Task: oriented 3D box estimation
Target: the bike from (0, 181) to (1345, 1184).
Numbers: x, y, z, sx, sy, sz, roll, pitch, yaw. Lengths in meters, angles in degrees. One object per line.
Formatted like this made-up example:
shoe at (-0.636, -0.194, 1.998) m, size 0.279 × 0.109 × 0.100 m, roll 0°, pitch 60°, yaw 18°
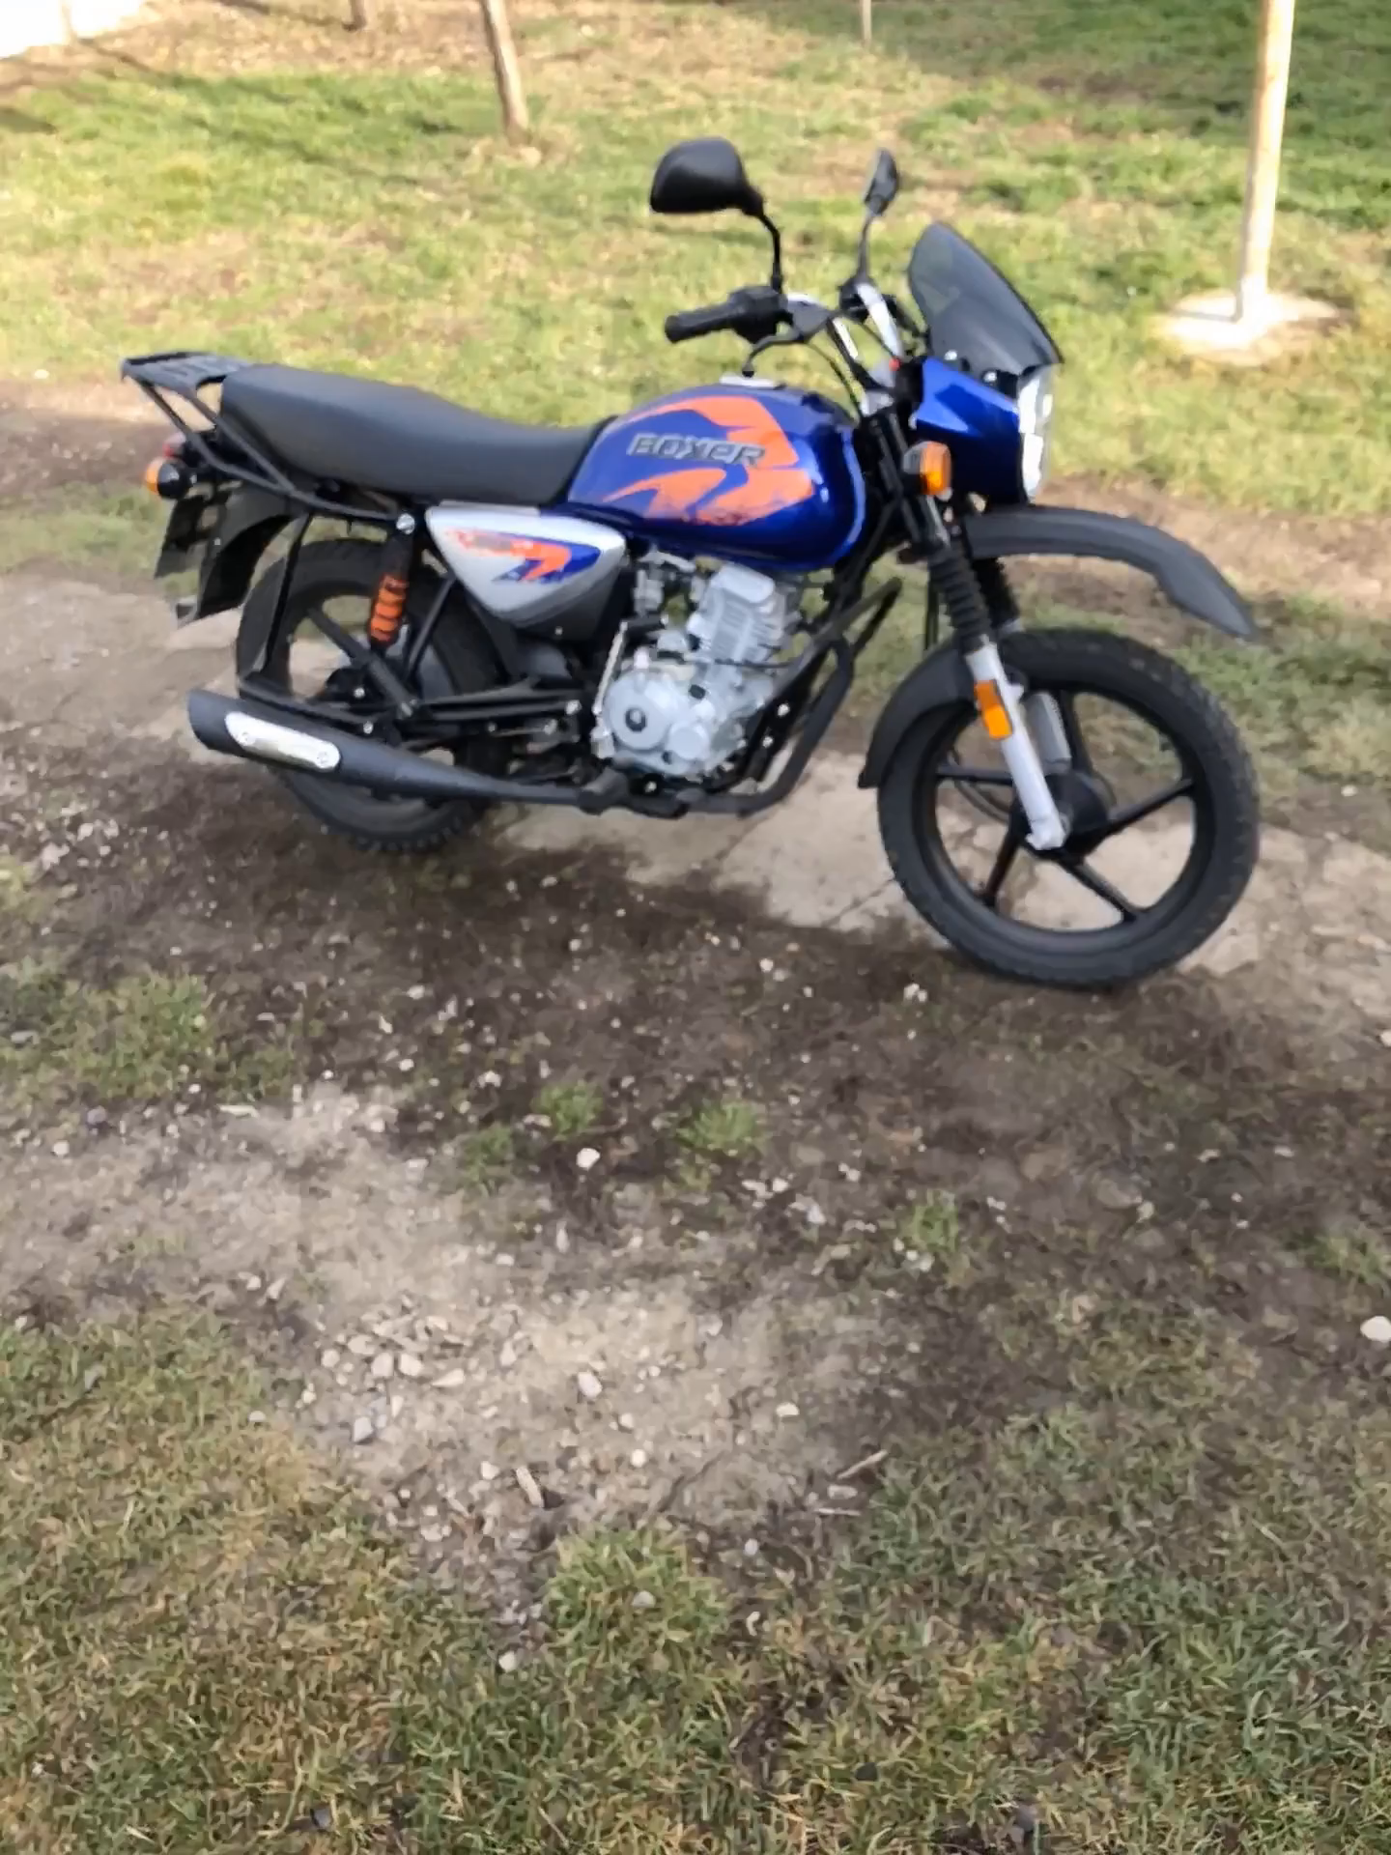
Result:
bike at (-0.013, -0.488, 2.494) m, size 1.779 × 1.049 × 0.812 m, roll 13°, pitch 42°, yaw 22°
